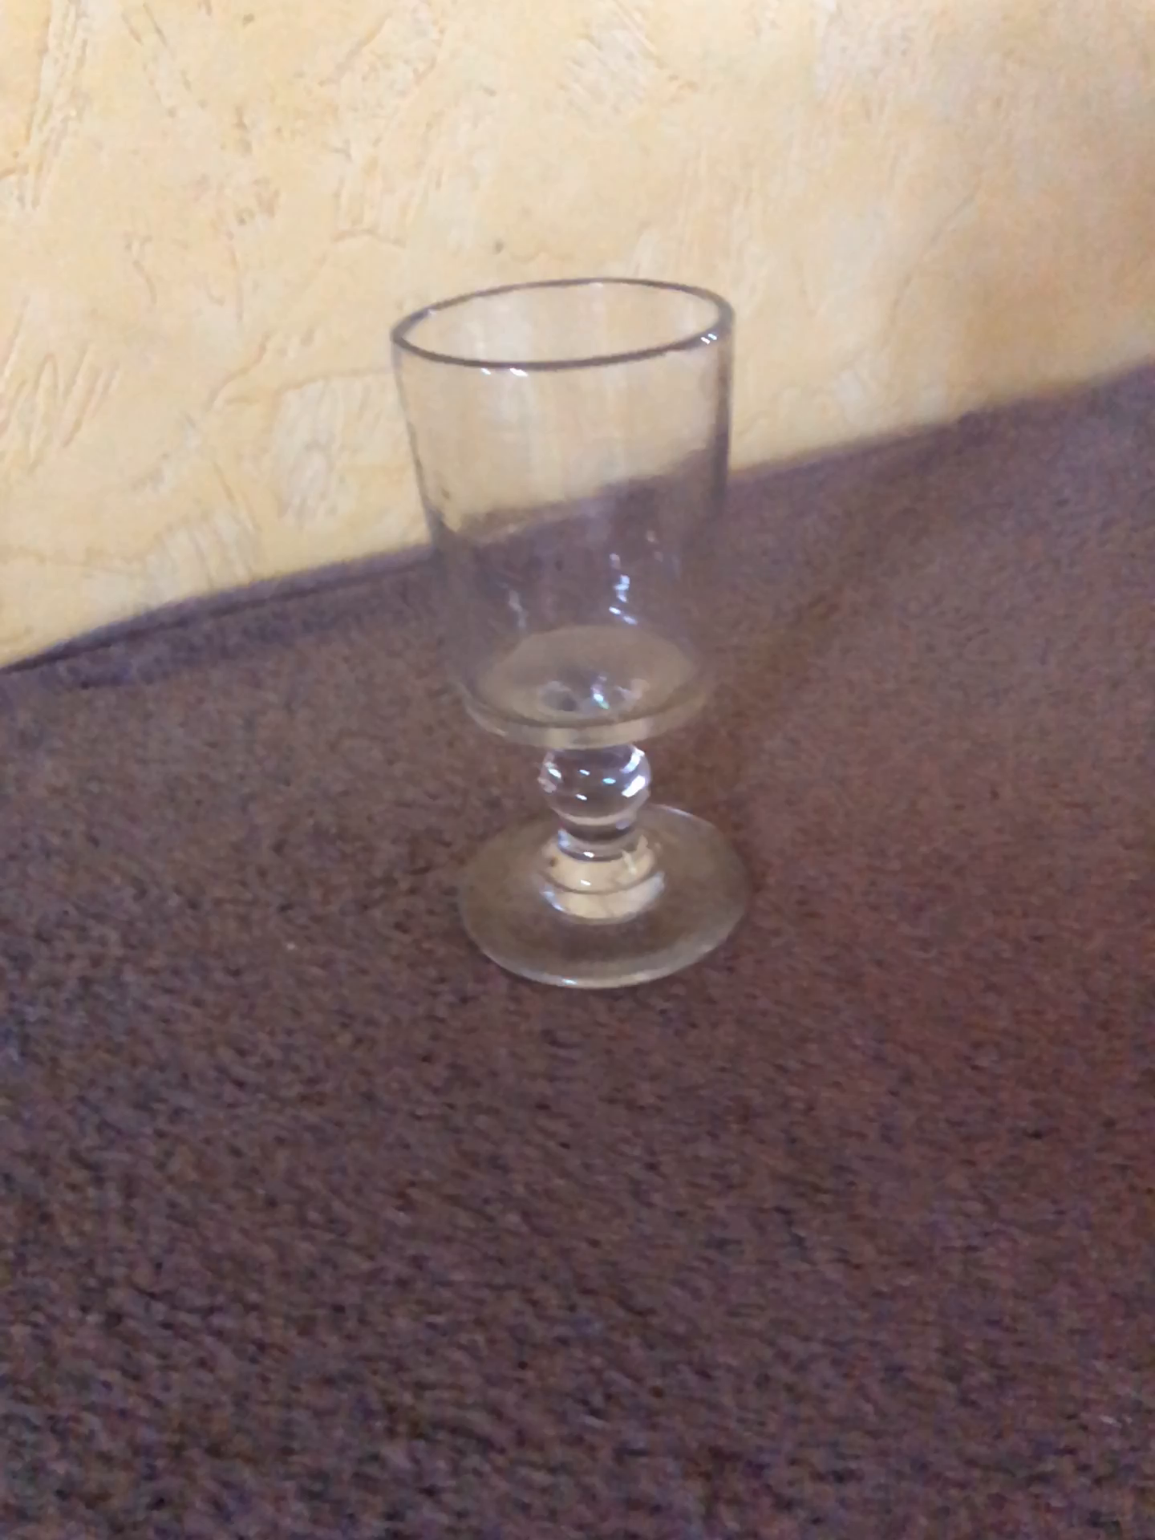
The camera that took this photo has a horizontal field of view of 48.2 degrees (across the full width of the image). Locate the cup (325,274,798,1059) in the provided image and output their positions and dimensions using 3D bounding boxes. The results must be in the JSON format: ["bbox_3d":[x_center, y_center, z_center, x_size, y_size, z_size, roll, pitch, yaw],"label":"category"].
[{"bbox_3d":[-0.003,-0.018,0.219,0.060,0.109,0.060,-3,32,2],"label":"cup"}]
